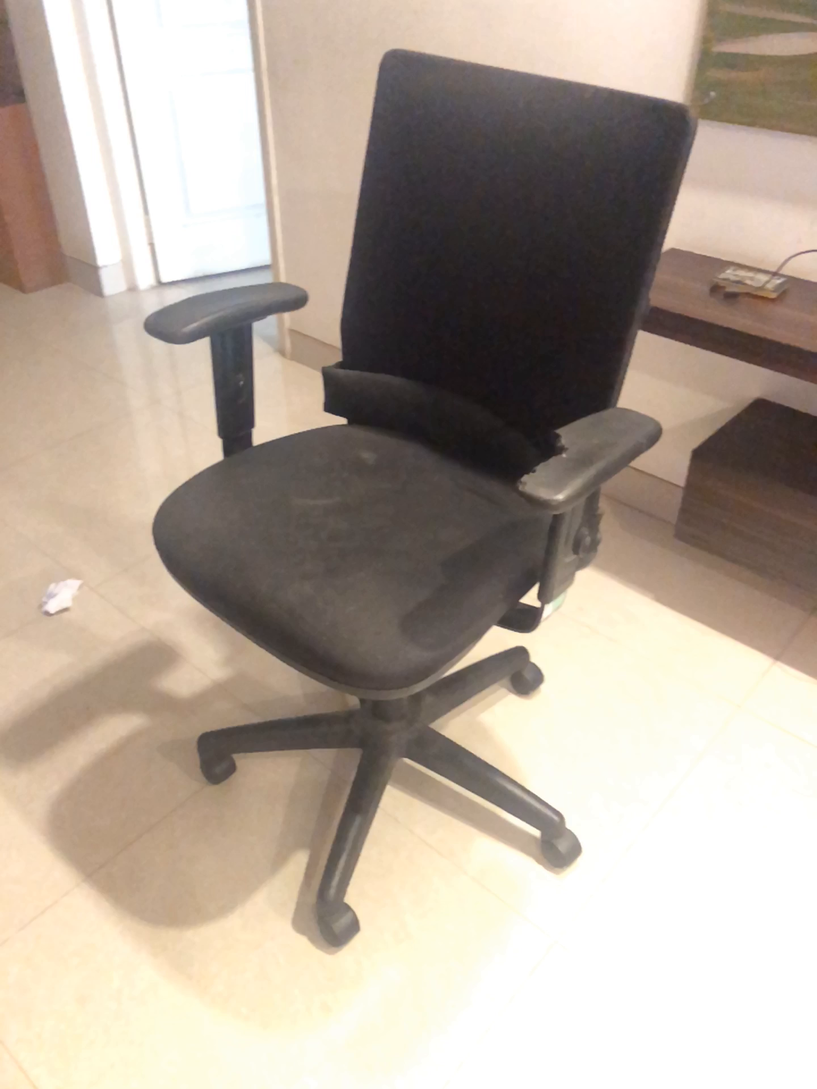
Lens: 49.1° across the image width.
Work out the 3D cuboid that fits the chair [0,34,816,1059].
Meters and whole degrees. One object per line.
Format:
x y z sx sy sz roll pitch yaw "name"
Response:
-0.014 -0.049 1.251 0.712 1.042 0.703 25 44 30 "chair"
